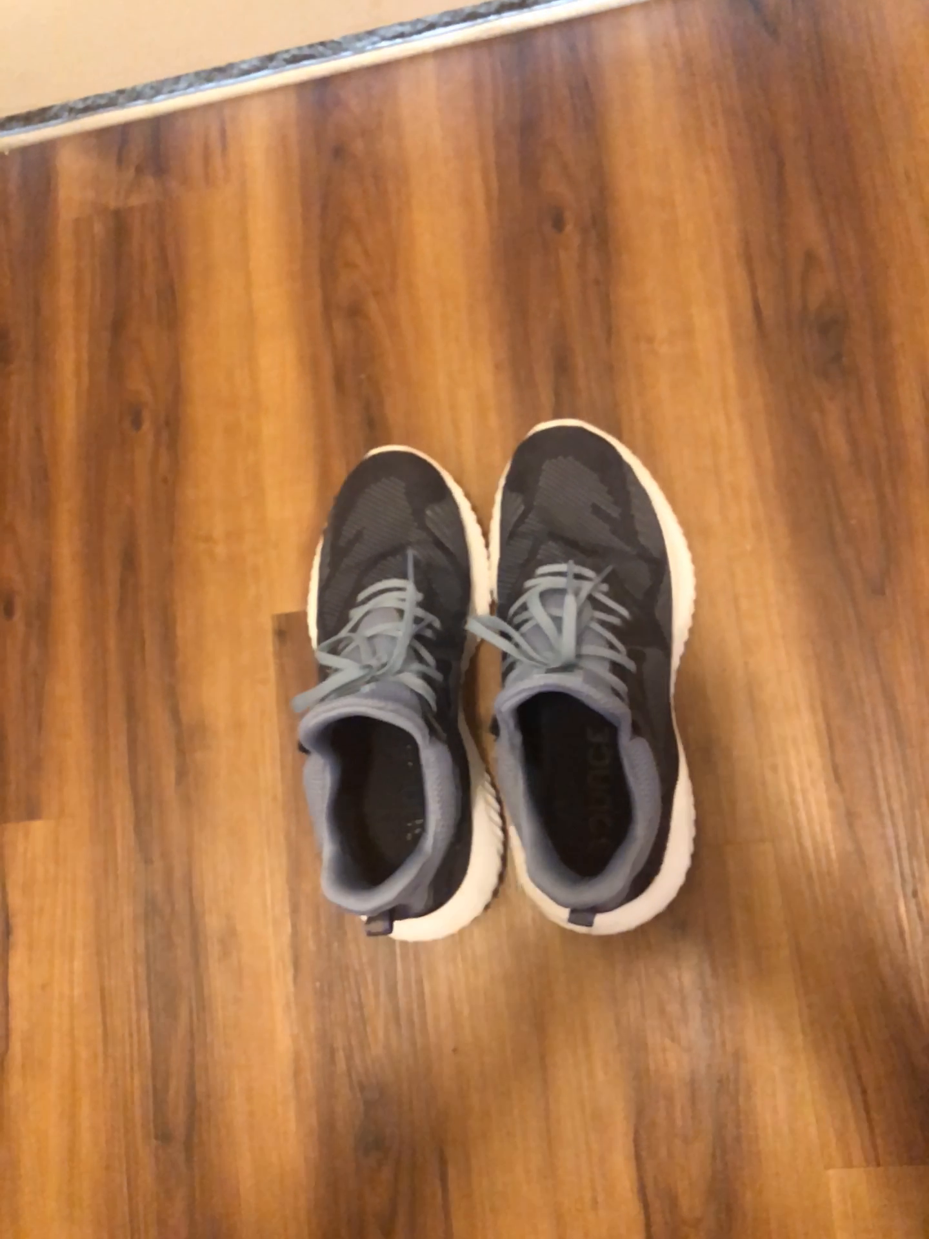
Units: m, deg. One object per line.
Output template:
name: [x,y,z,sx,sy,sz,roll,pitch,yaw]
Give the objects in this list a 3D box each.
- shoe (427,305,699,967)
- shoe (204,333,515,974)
shoe: [0.059,0.013,0.590,0.131,0.131,0.334,-2,79,12]
shoe: [-0.060,0.024,0.615,0.133,0.135,0.333,-6,78,11]
